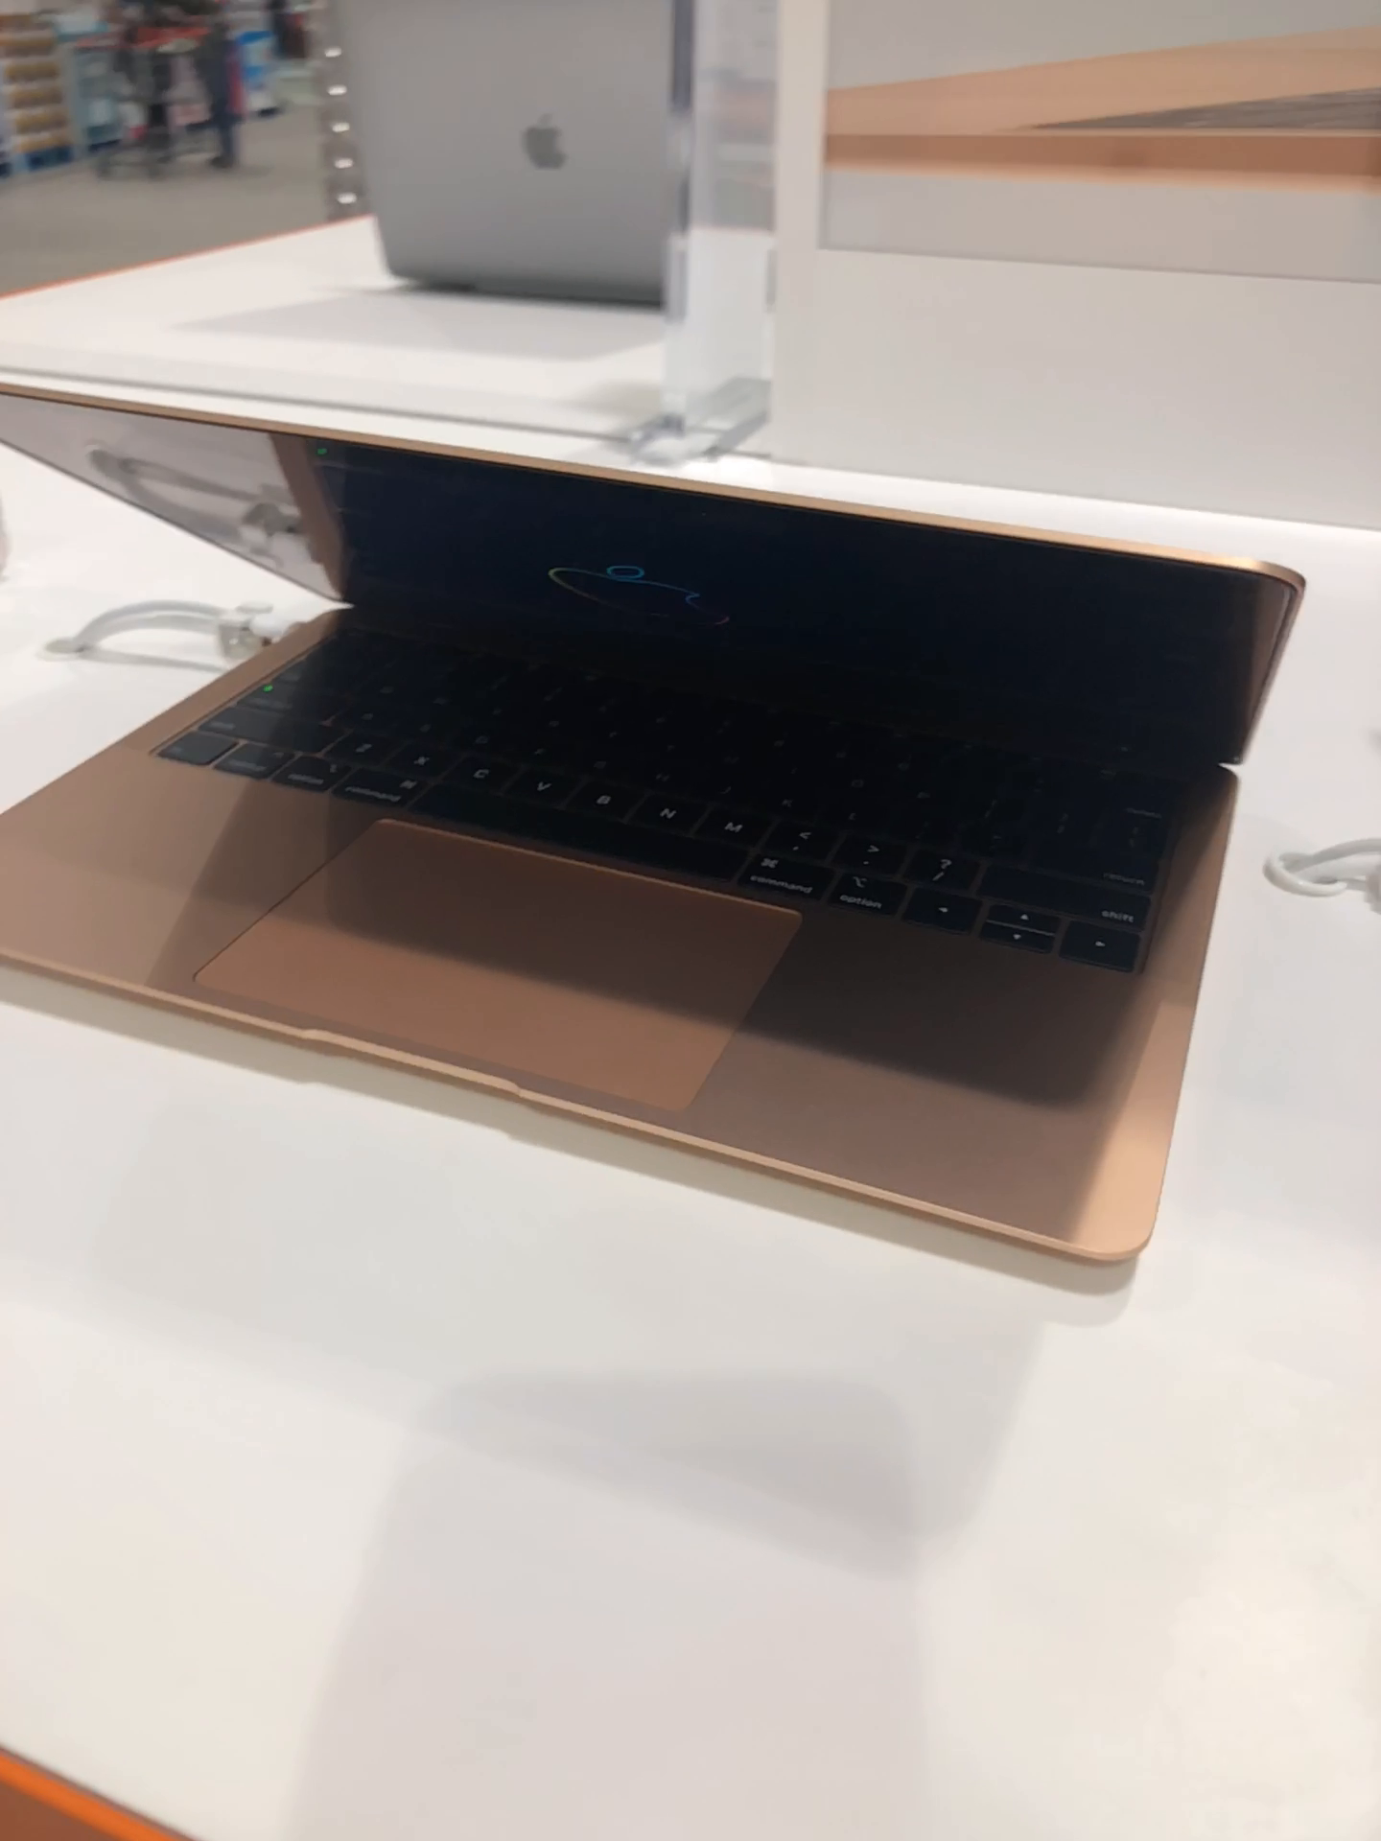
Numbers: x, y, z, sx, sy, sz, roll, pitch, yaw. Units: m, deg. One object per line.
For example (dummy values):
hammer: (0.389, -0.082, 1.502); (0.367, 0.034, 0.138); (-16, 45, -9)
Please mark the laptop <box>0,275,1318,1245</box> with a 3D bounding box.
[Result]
laptop: (-0.020, -0.069, 0.370); (0.296, 0.106, 0.200); (12, 34, 17)
